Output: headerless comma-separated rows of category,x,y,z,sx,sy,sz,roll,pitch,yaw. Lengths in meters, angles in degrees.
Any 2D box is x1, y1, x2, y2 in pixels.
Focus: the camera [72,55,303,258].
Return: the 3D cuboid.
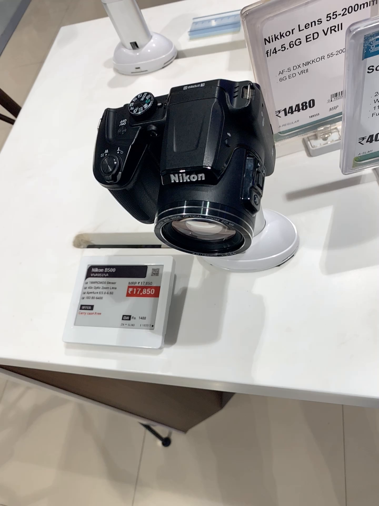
camera,0.007,-0.049,0.233,0.113,0.070,0.083,0,67,19
